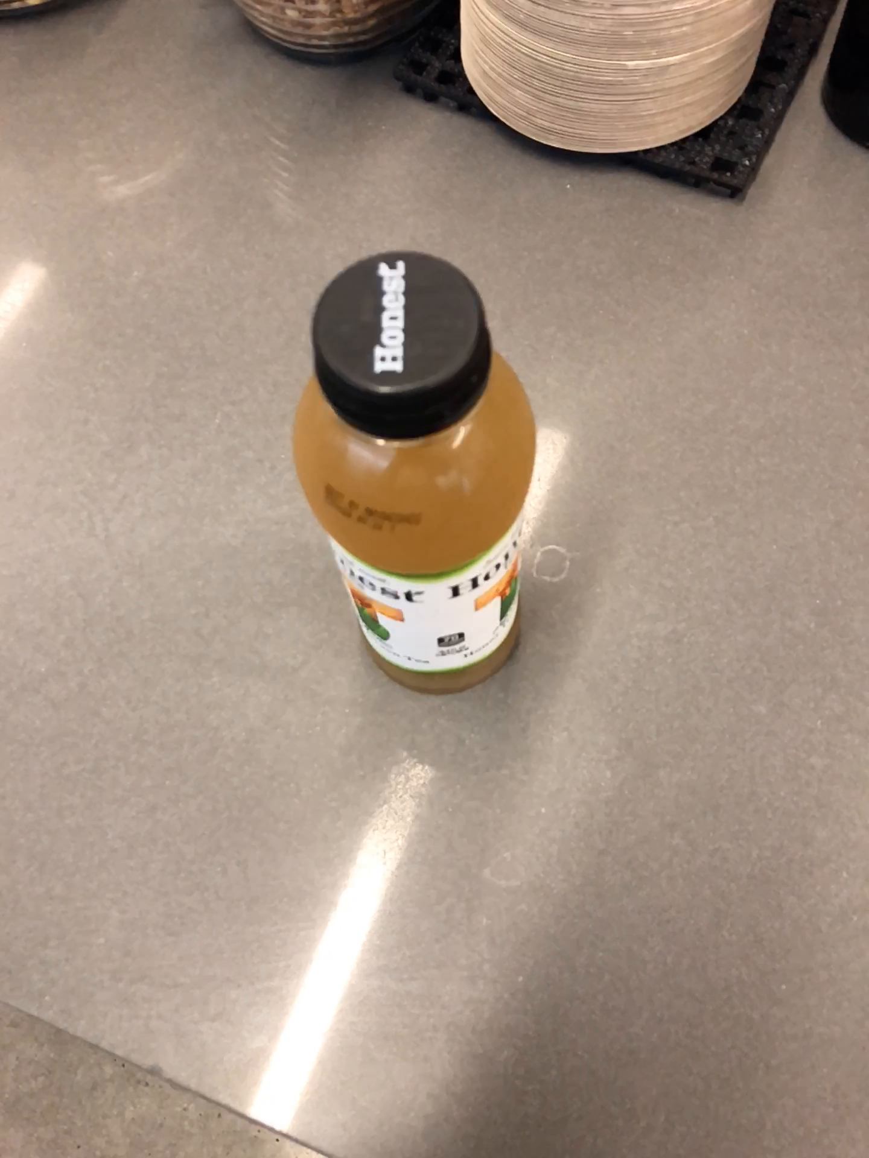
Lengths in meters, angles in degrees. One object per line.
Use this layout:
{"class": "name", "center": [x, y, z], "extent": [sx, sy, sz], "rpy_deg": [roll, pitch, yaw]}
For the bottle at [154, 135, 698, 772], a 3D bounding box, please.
{"class": "bottle", "center": [0.002, -0.020, 0.311], "extent": [0.090, 0.190, 0.090], "rpy_deg": [-1, 67, 3]}
